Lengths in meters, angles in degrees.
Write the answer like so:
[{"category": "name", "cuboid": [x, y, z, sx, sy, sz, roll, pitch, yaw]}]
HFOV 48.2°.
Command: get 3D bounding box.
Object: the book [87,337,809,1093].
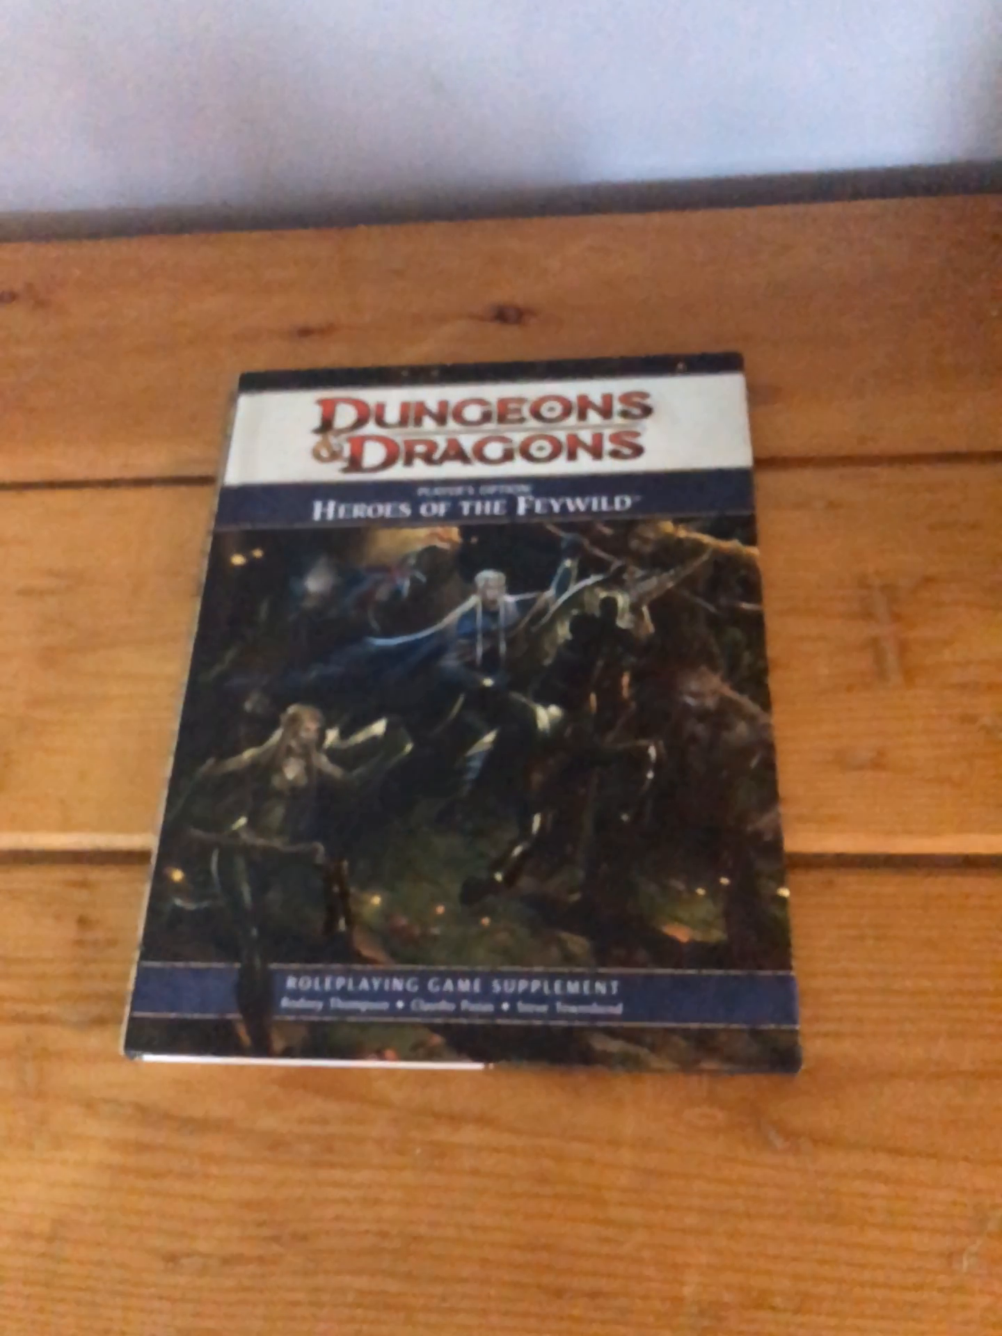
[{"category": "book", "cuboid": [-0.014, 0.001, 0.406, 0.220, 0.020, 0.280, -1, 65, 6]}]
